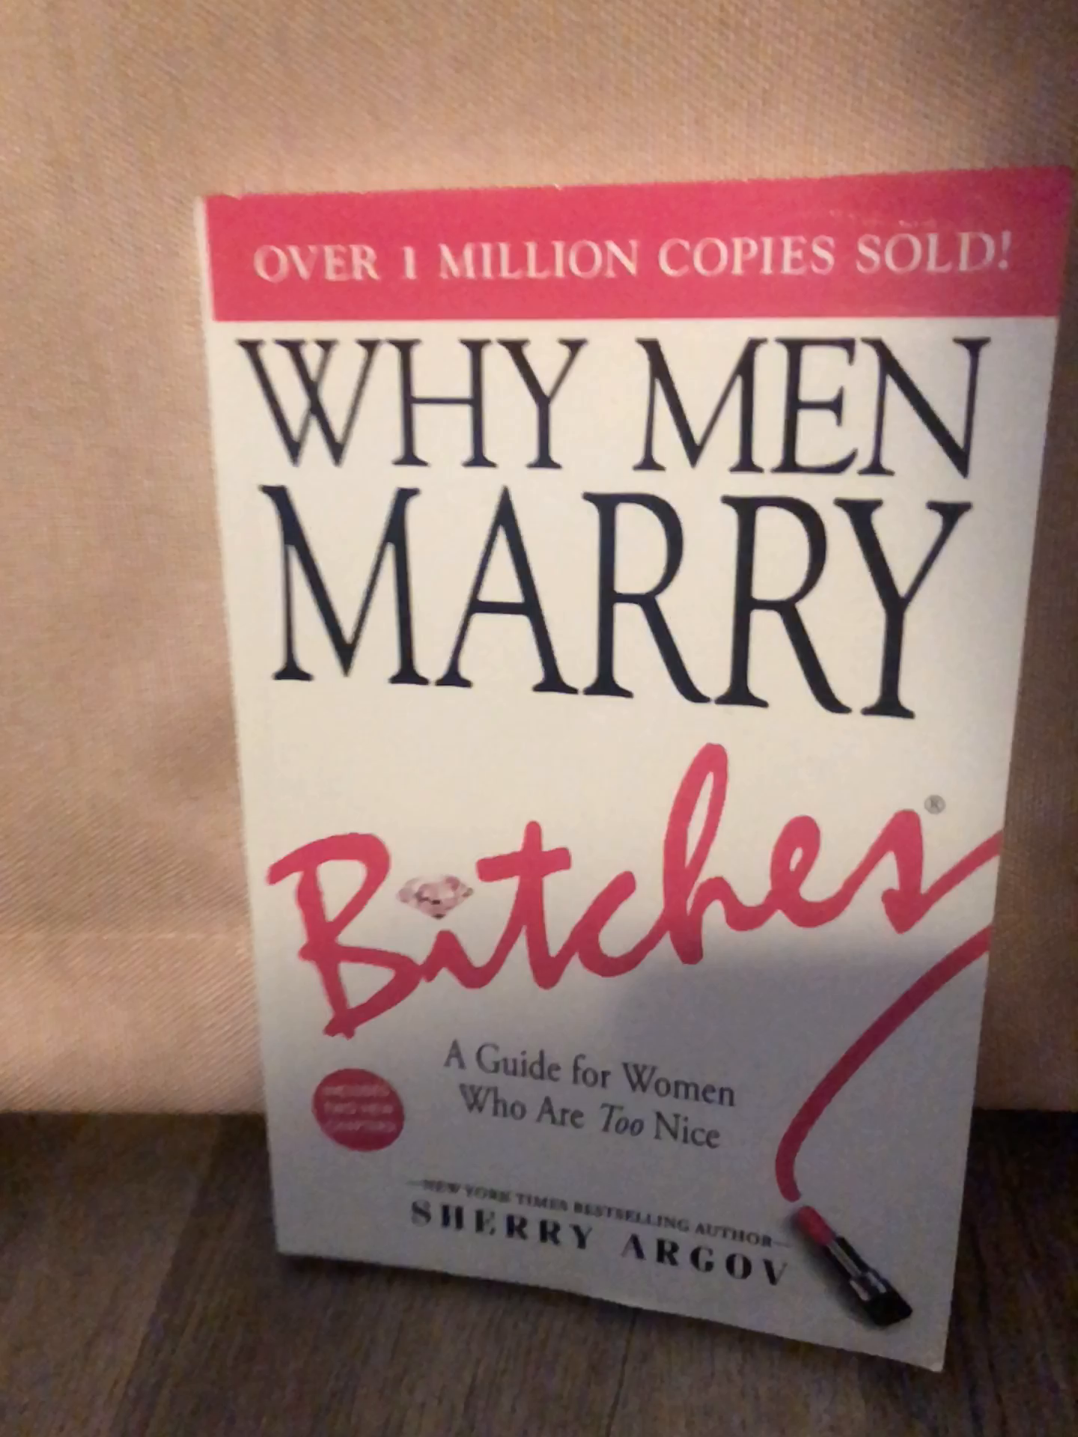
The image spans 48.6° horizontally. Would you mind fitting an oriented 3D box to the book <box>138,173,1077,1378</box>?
[{"bbox_3d":[0.009,0.015,0.235,0.150,0.219,0.037,4,18,11],"label":"book"}]
